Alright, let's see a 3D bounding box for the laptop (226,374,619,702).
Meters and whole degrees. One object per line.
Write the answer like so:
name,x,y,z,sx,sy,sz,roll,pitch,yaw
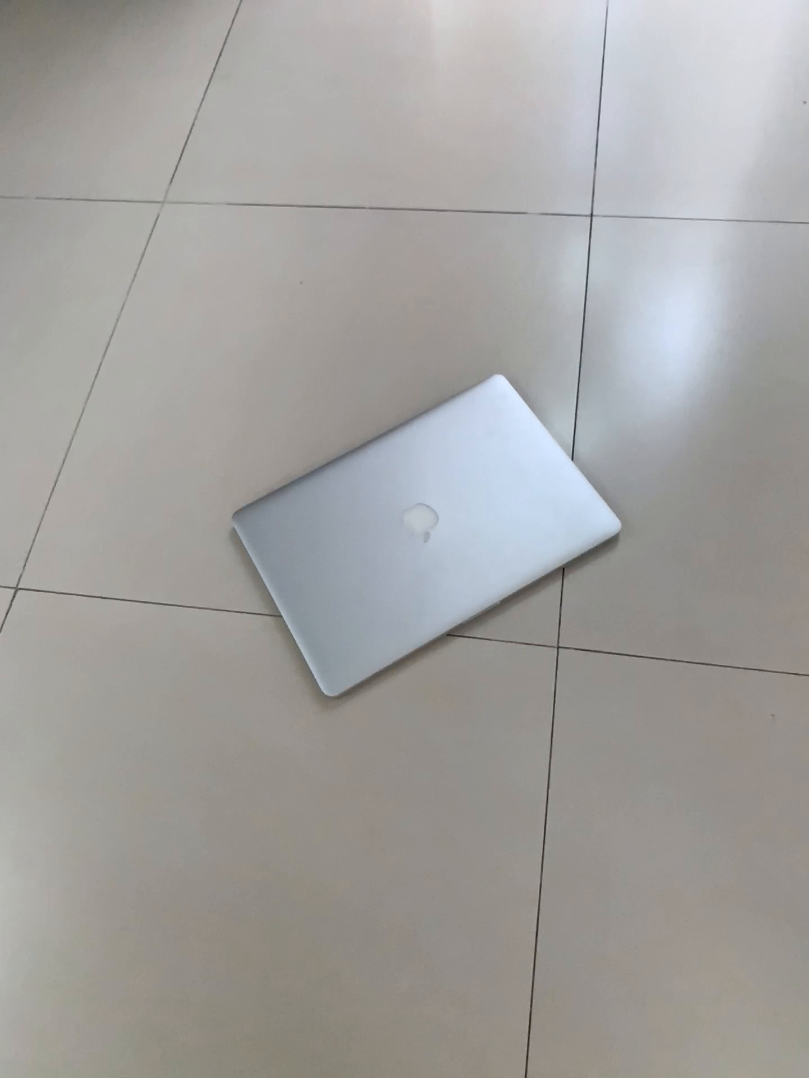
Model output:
laptop,0.014,-0.016,0.900,0.356,0.001,0.239,-30,65,-8
